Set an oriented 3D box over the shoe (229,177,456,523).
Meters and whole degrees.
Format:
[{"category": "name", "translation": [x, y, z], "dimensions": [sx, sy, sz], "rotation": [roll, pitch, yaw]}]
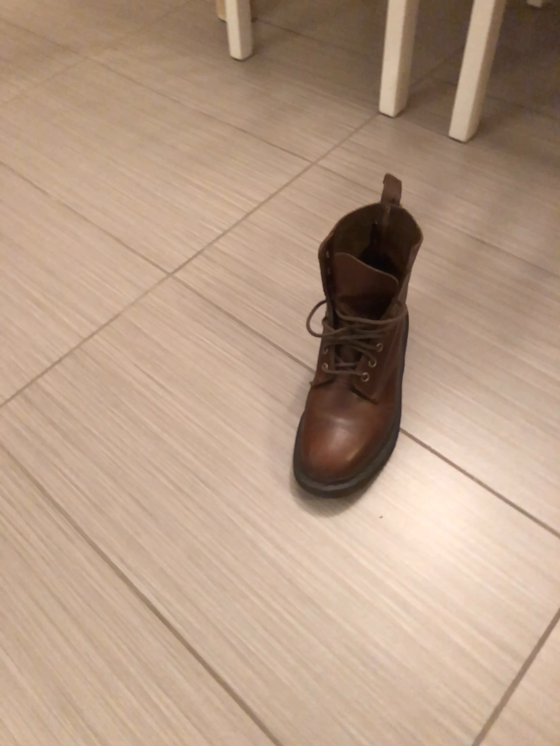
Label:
[{"category": "shoe", "translation": [0.076, -0.029, 0.616], "dimensions": [0.115, 0.180, 0.283], "rotation": [15, 57, 18]}]
